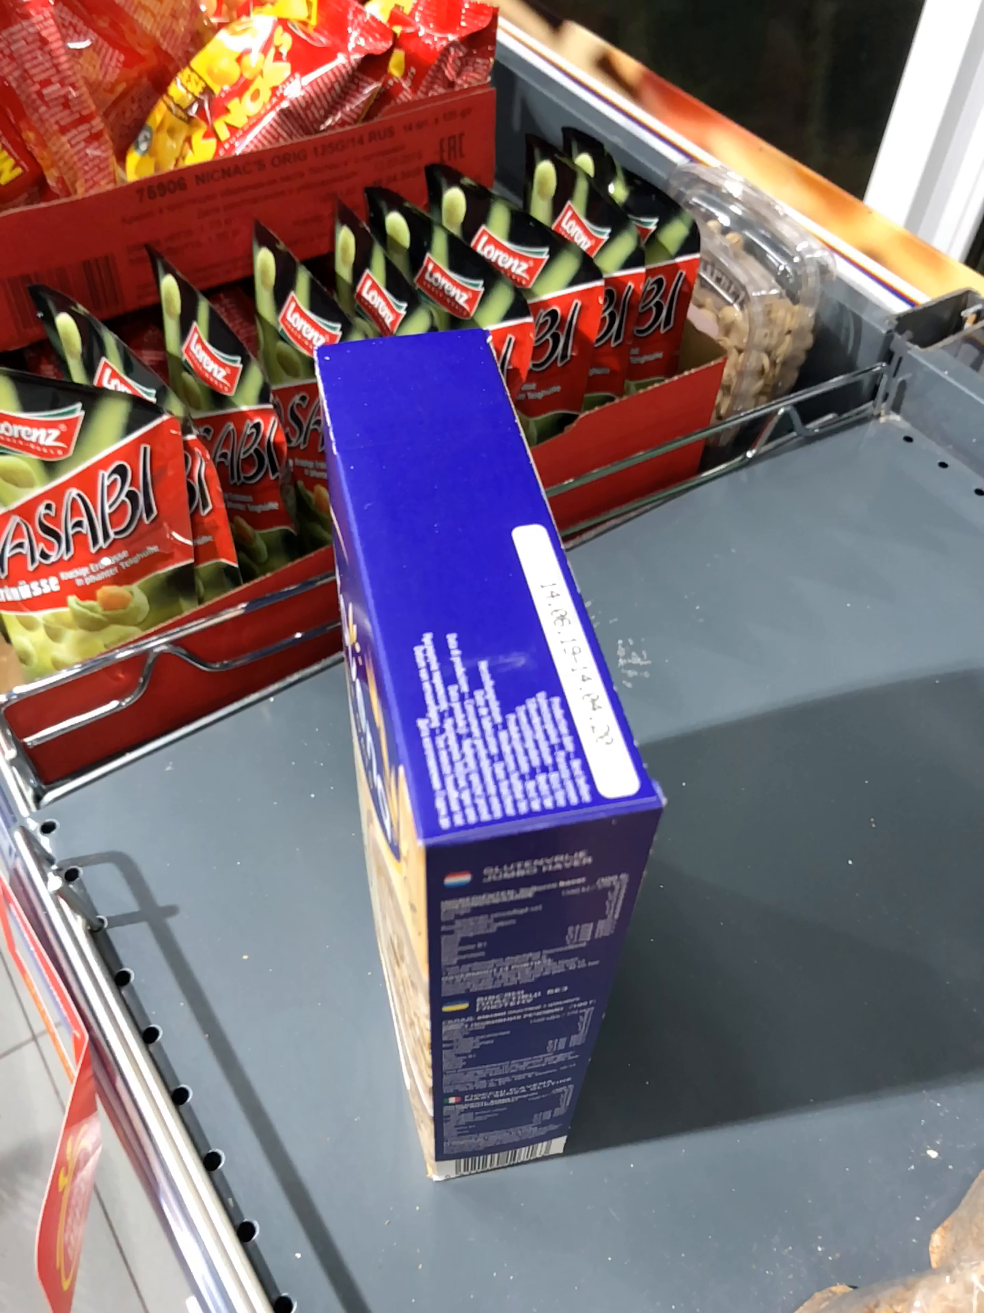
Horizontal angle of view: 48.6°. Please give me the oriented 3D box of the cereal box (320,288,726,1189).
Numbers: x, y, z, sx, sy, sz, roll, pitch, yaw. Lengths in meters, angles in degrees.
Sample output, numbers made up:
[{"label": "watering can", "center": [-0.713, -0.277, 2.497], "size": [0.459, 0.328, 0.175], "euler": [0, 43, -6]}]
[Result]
[{"label": "cereal box", "center": [-0.006, 0.040, 0.314], "size": [0.050, 0.229, 0.151], "euler": [-8, 52, -10]}]
